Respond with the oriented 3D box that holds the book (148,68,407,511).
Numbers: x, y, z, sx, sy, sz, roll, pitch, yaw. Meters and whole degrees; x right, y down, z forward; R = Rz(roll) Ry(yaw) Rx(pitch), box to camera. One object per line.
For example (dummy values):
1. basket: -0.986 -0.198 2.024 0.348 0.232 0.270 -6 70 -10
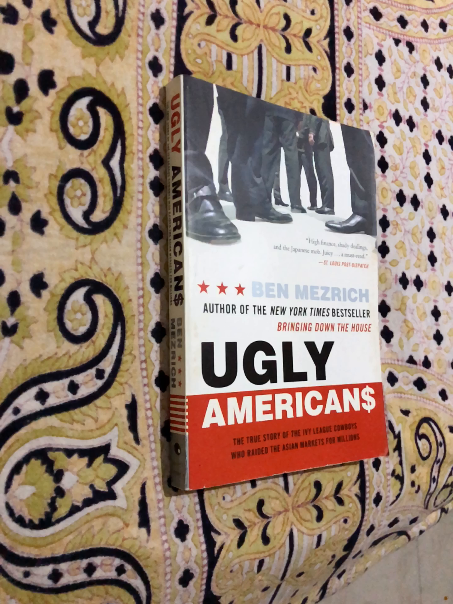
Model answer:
1. book: 0.031 -0.005 0.263 0.141 0.030 0.190 2 85 -31
